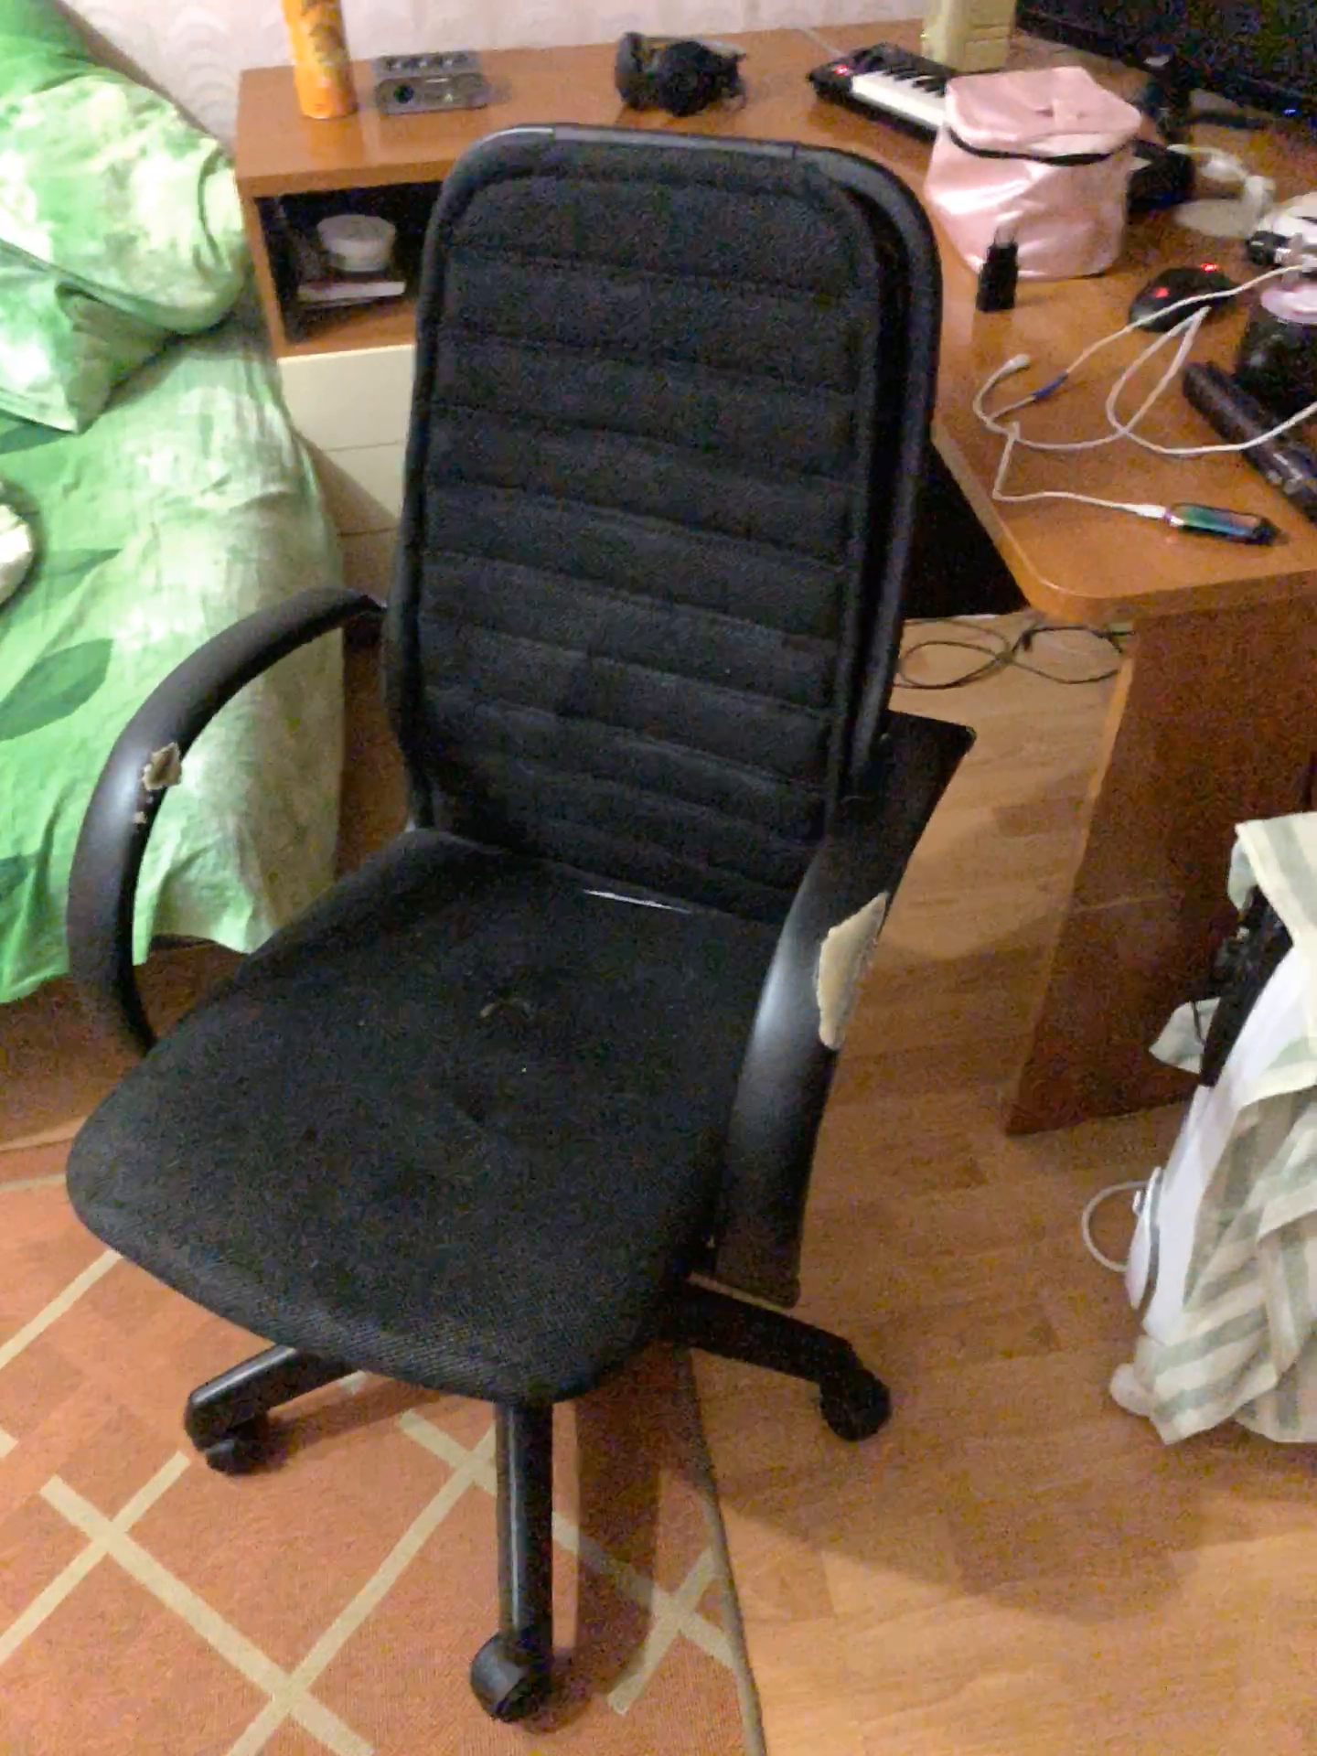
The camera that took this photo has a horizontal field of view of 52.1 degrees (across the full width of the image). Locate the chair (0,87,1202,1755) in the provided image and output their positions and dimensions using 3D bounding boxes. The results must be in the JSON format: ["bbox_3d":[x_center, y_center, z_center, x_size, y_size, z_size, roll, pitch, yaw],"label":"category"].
[{"bbox_3d":[-0.108,0.084,1.021,0.671,0.991,0.725,15,47,16],"label":"chair"}]
